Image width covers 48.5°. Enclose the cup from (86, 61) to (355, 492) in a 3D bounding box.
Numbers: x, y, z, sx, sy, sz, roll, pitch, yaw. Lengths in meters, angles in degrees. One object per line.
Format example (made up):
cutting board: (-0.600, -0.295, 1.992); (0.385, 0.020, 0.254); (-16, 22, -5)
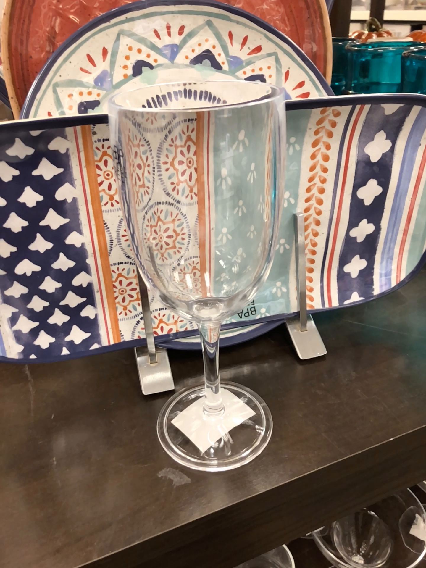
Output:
cup: (0.002, -0.003, 0.254); (0.090, 0.200, 0.085); (-2, 30, 1)
